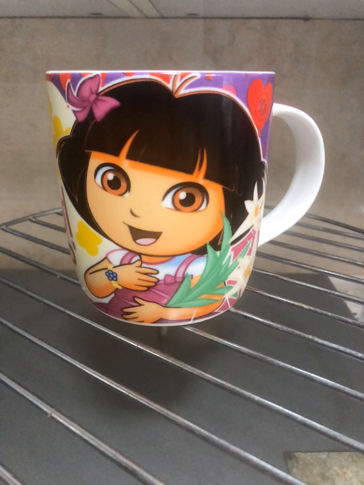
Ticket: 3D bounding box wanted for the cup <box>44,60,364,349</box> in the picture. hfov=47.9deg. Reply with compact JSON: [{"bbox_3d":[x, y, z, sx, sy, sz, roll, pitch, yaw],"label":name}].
[{"bbox_3d":[0.011,-0.025,0.172,0.120,0.089,0.070,-7,23,-19],"label":"cup"}]
